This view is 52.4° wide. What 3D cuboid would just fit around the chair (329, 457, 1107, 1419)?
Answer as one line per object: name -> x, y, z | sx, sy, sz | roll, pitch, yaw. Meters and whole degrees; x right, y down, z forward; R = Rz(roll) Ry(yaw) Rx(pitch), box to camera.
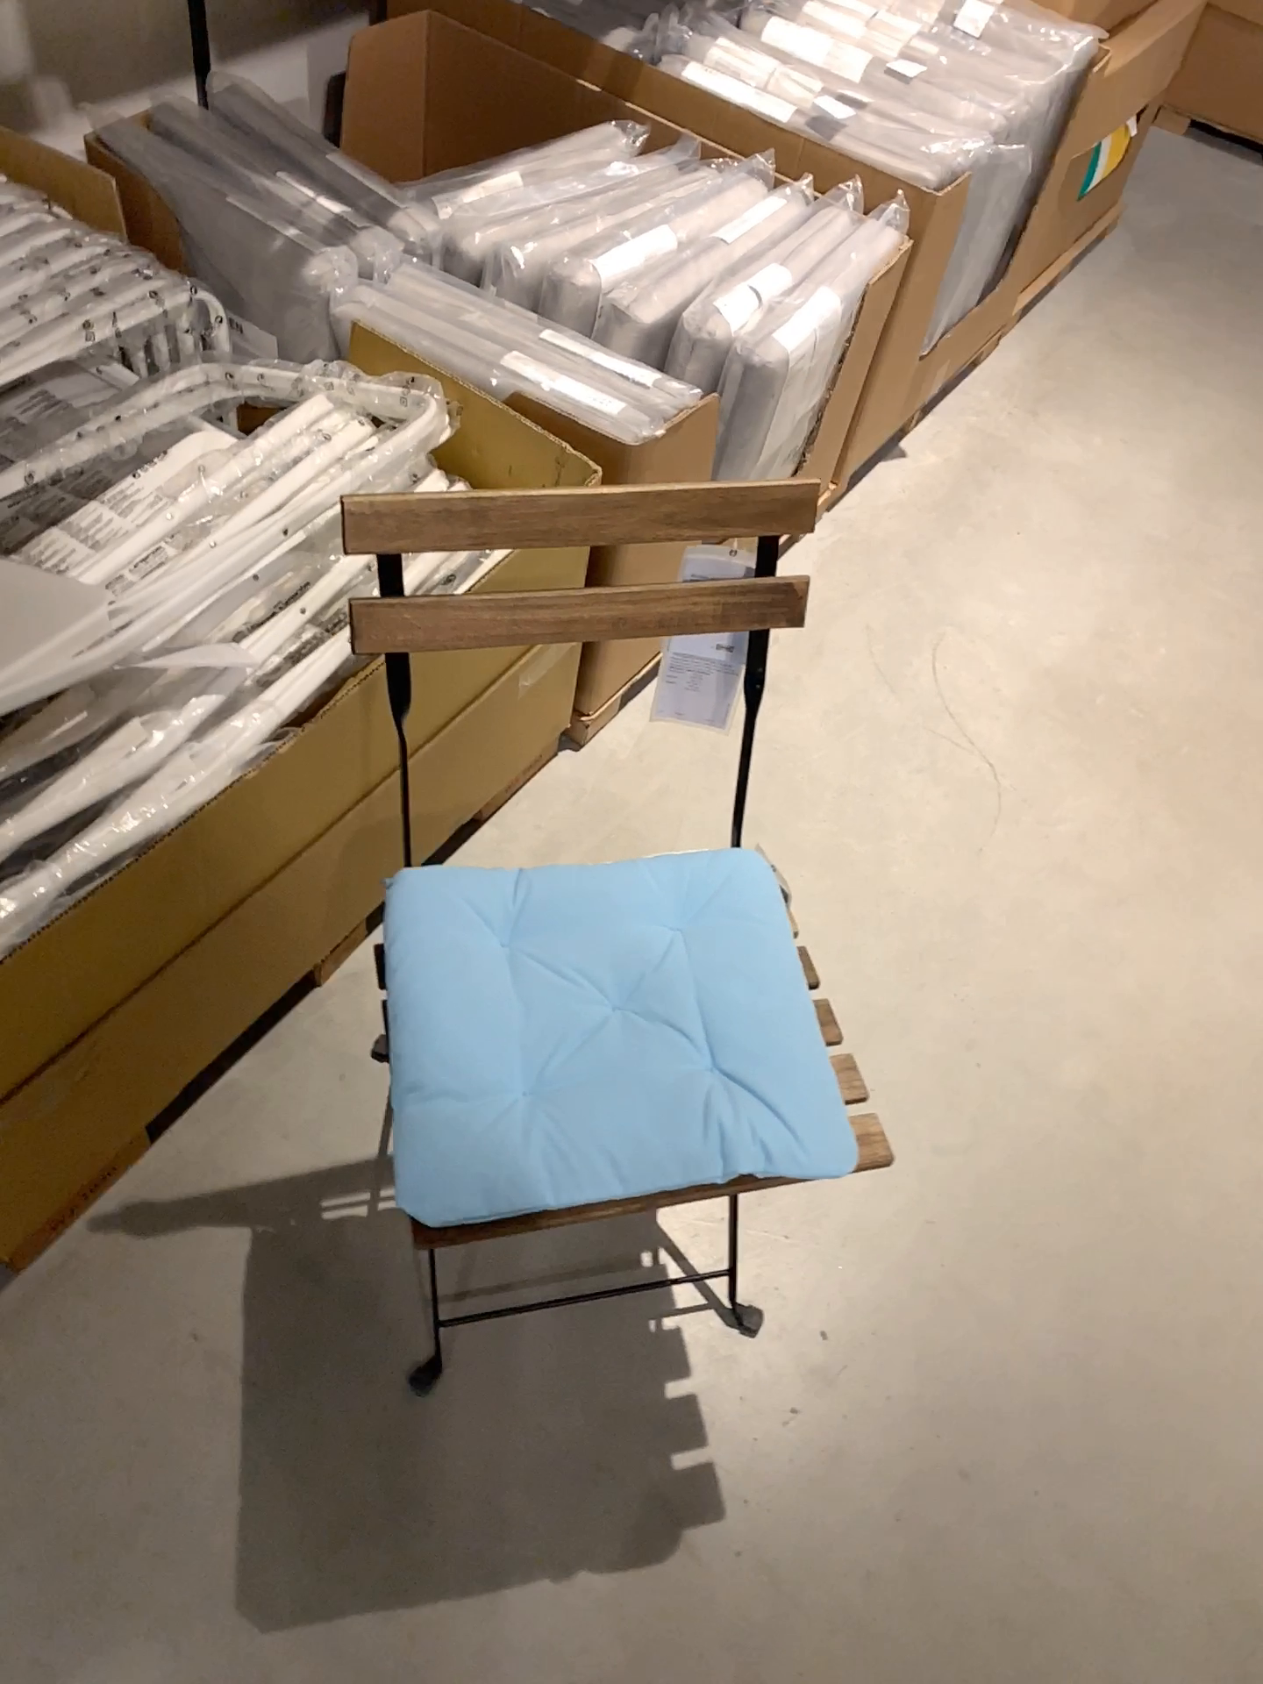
chair -> -0.022, 0.122, 1.117 | 0.400, 0.738, 0.461 | -6, 54, -15
